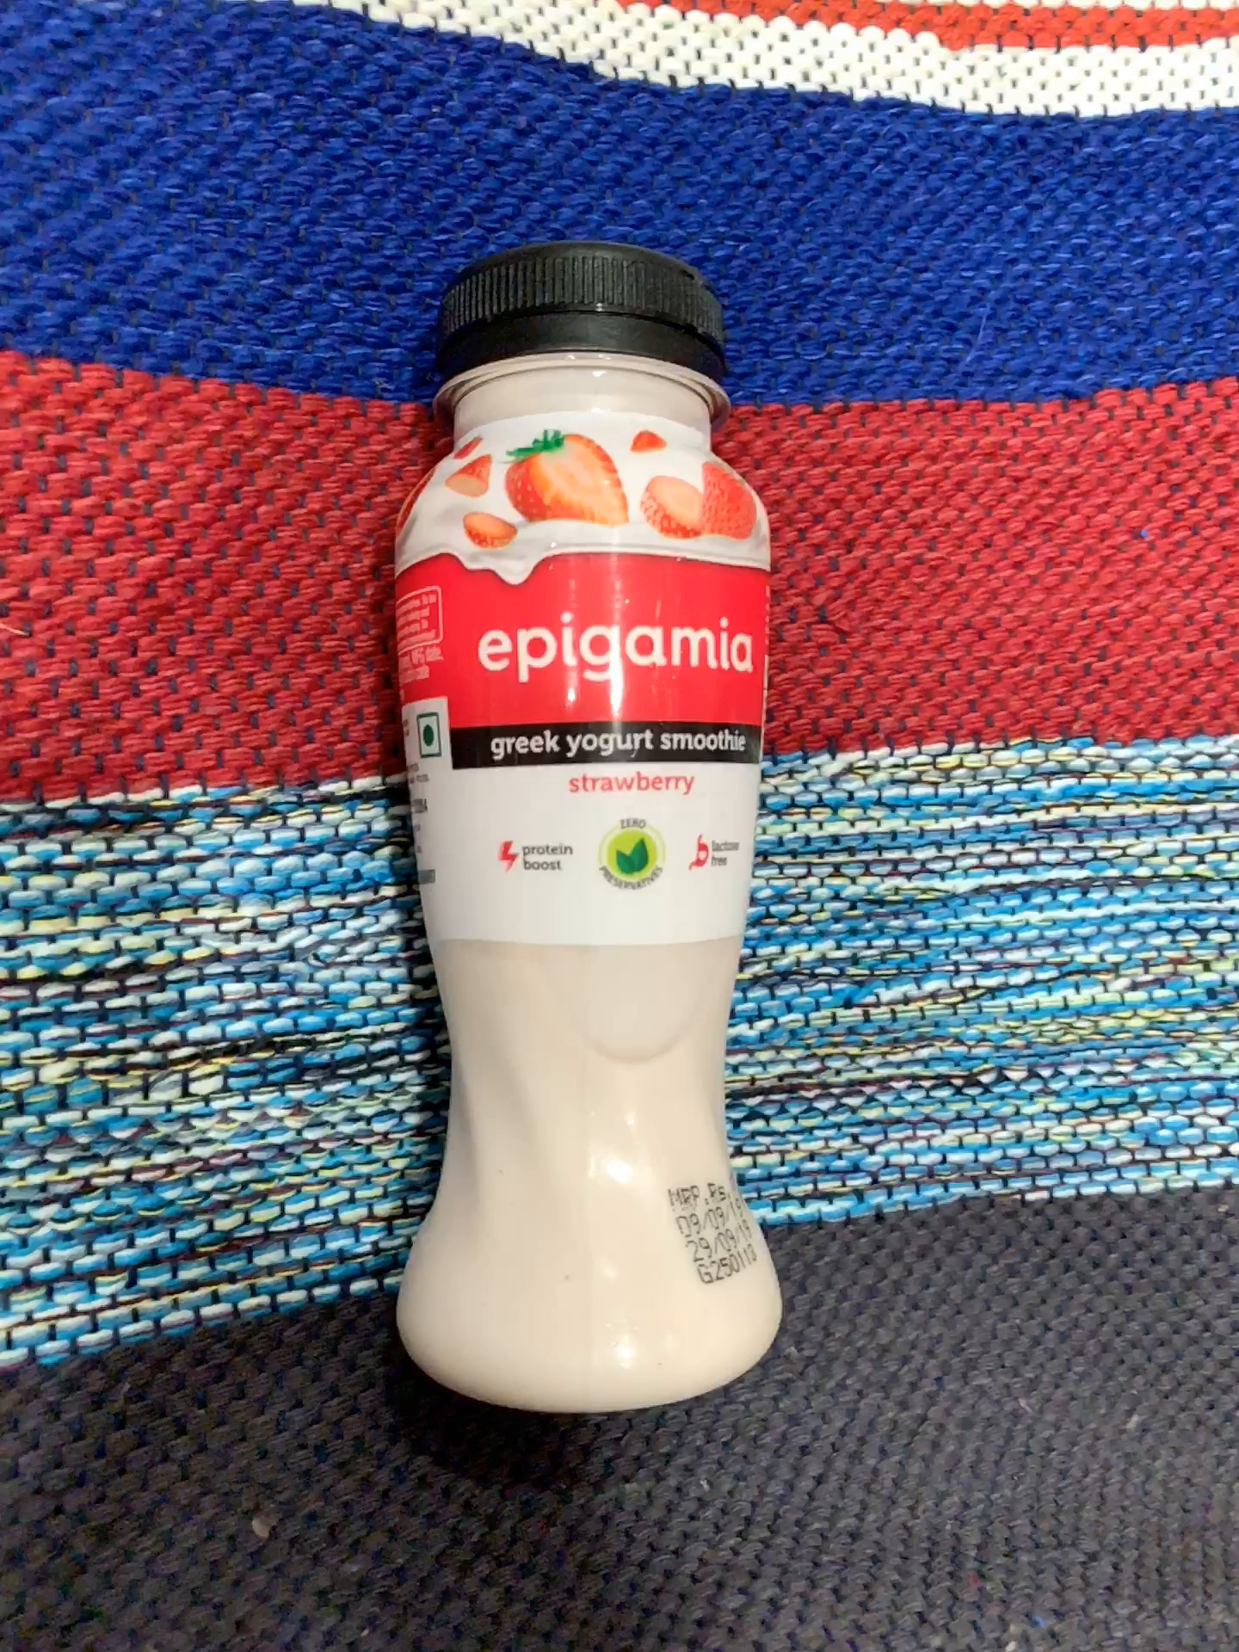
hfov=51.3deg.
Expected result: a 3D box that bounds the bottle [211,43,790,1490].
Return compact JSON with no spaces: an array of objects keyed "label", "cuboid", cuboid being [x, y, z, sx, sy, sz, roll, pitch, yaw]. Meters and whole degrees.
[{"label":"bottle","cuboid":[-0.020,-0.008,0.176,0.060,0.050,0.160,-1,85,-22]}]
